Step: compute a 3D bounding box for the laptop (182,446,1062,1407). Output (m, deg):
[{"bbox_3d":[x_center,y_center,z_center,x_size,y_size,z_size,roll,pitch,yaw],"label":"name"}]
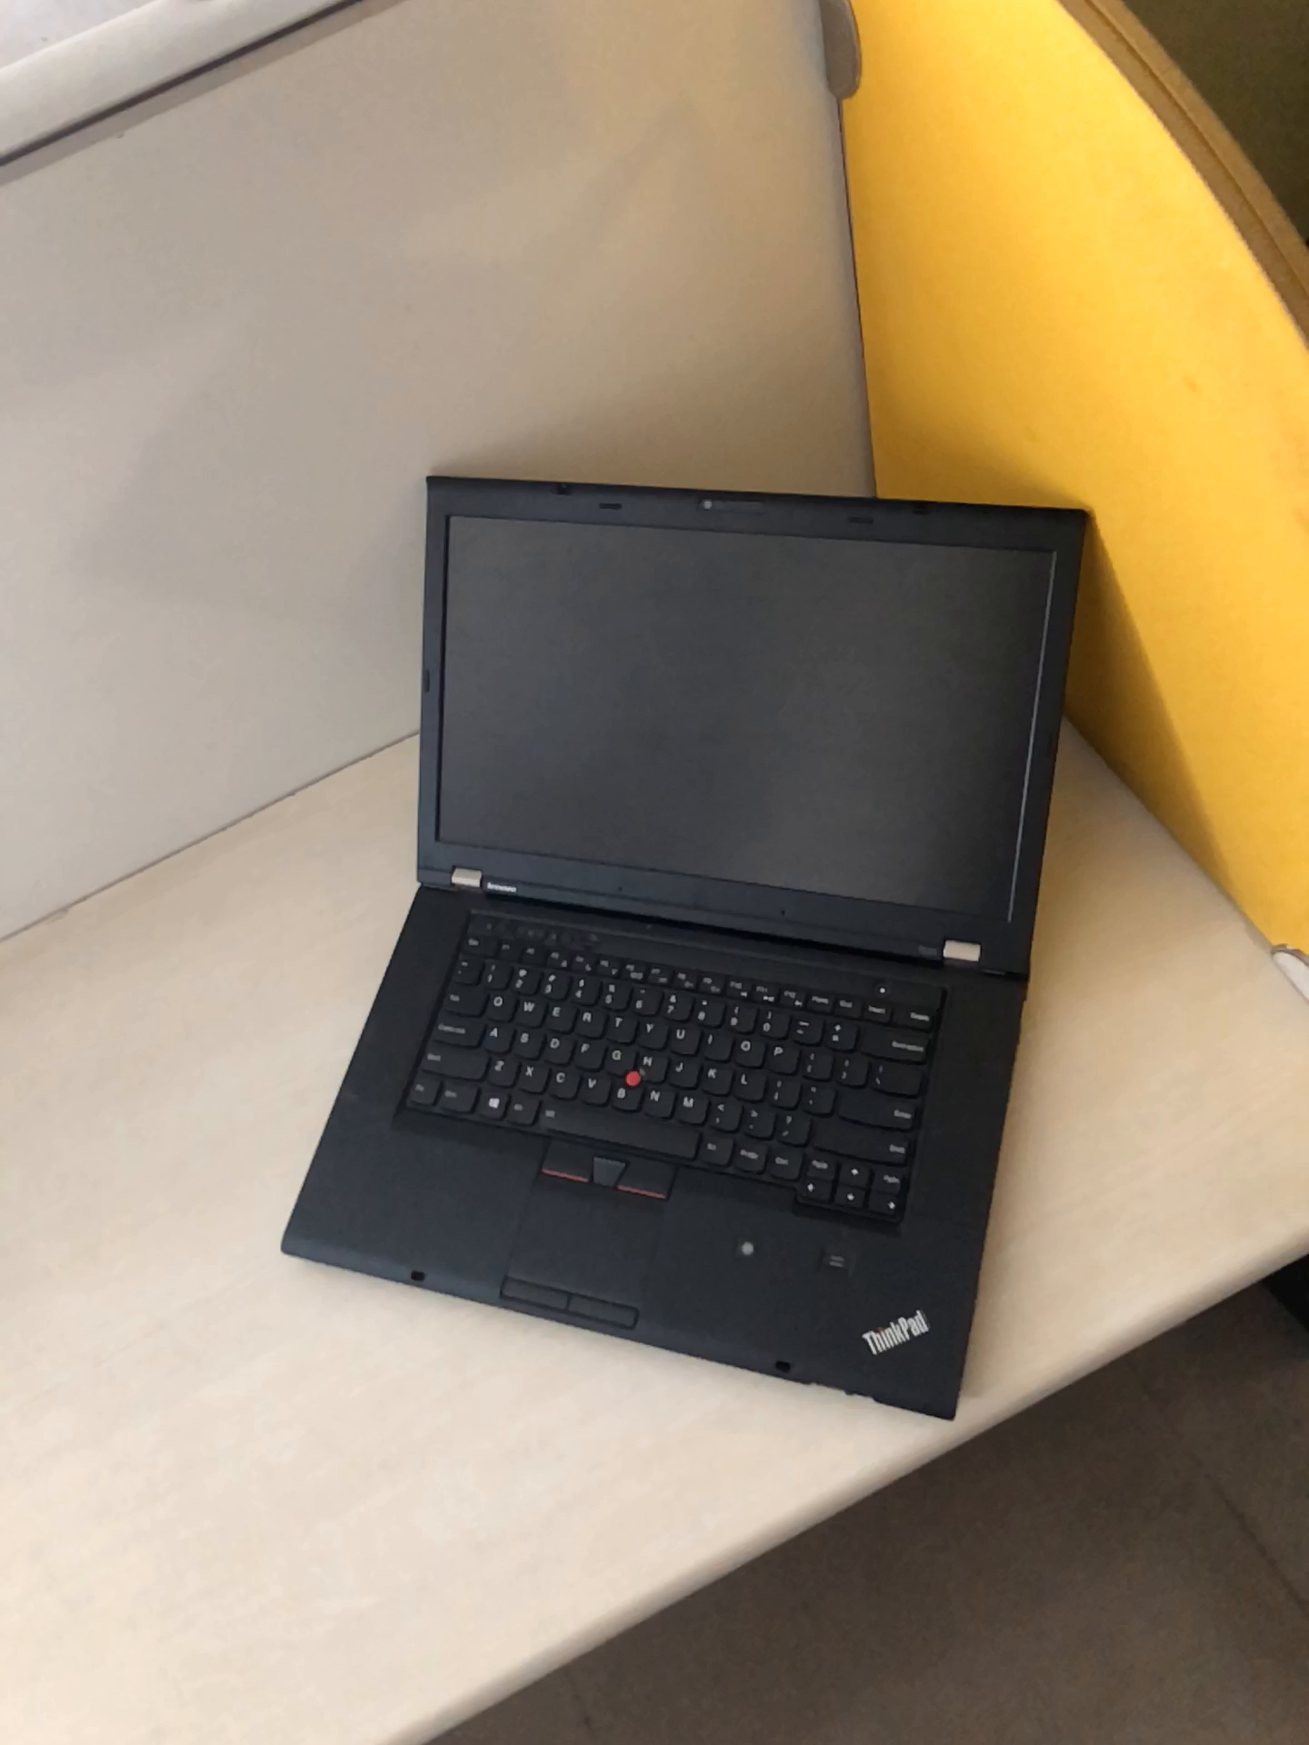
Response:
[{"bbox_3d":[0.009,0.003,0.758,0.353,0.143,0.419,8,65,16],"label":"laptop"}]
